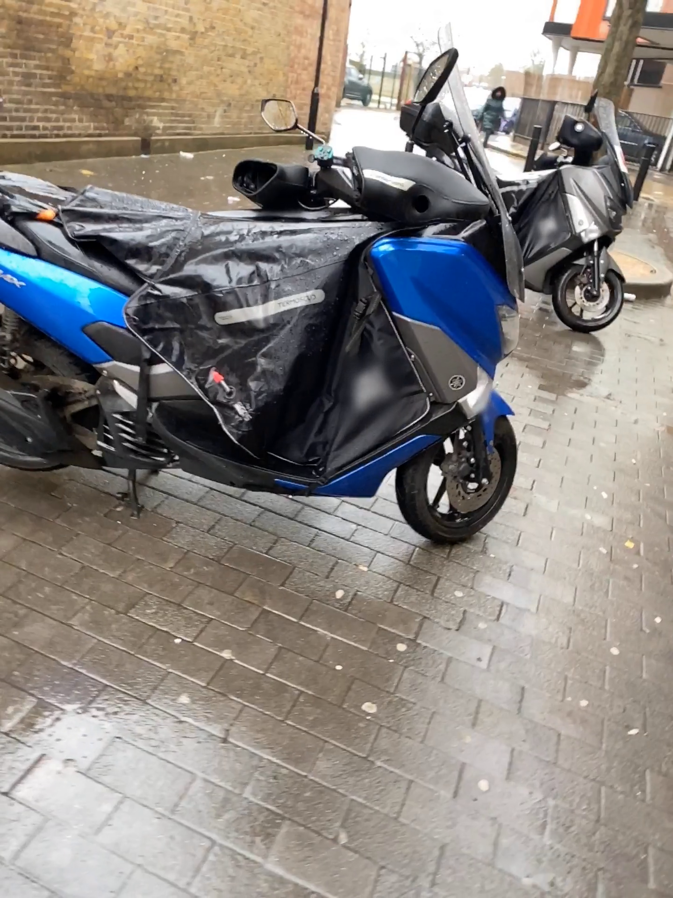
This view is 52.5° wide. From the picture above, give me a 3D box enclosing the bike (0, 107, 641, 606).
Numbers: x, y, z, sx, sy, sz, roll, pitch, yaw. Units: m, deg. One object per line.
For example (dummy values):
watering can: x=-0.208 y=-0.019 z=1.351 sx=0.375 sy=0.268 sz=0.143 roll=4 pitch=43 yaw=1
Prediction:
bike: x=-0.255 y=-0.248 z=1.905 sx=1.731 sy=0.998 sz=0.681 roll=6 pitch=27 yaw=-6
